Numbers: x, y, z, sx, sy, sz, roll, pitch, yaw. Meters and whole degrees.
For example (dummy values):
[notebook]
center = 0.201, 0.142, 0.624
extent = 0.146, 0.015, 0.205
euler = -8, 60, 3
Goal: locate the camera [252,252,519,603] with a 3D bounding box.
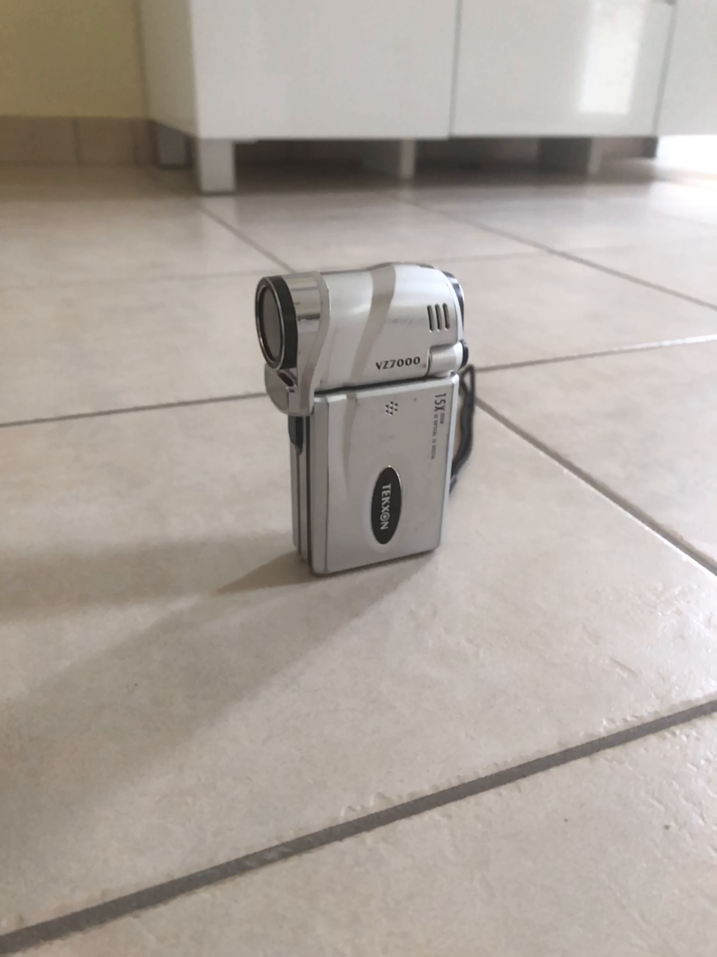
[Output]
[camera]
center = 0.008, -0.020, 0.291
extent = 0.080, 0.109, 0.040
euler = -10, 28, -23
